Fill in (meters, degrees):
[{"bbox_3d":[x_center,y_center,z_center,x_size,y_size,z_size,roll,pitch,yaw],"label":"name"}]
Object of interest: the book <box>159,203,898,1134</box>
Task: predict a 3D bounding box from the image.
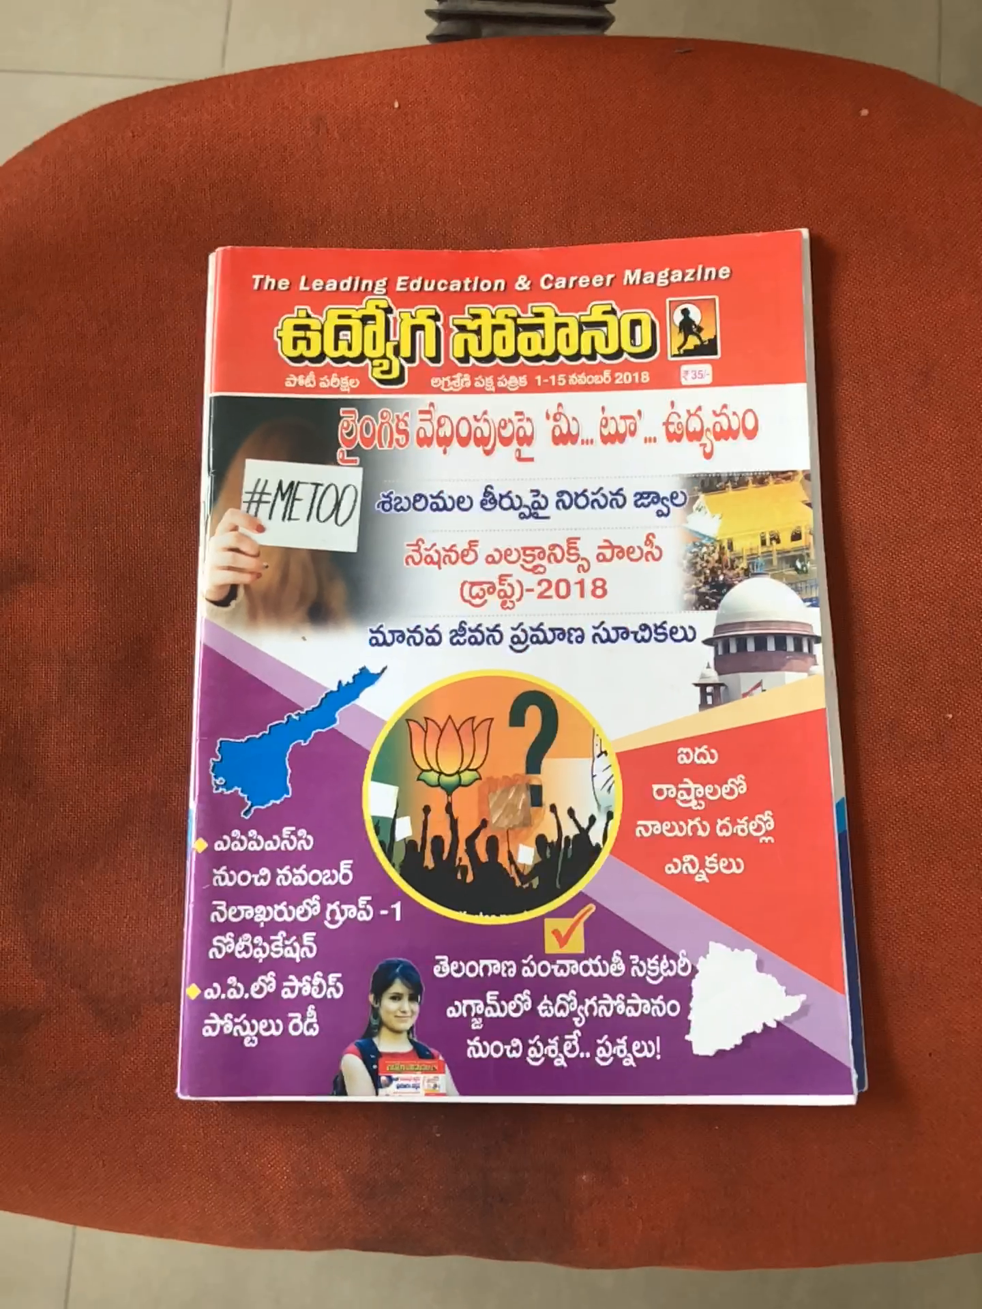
[{"bbox_3d":[0.008,-0.001,0.367,0.217,0.040,0.295,-2,79,5],"label":"book"}]
